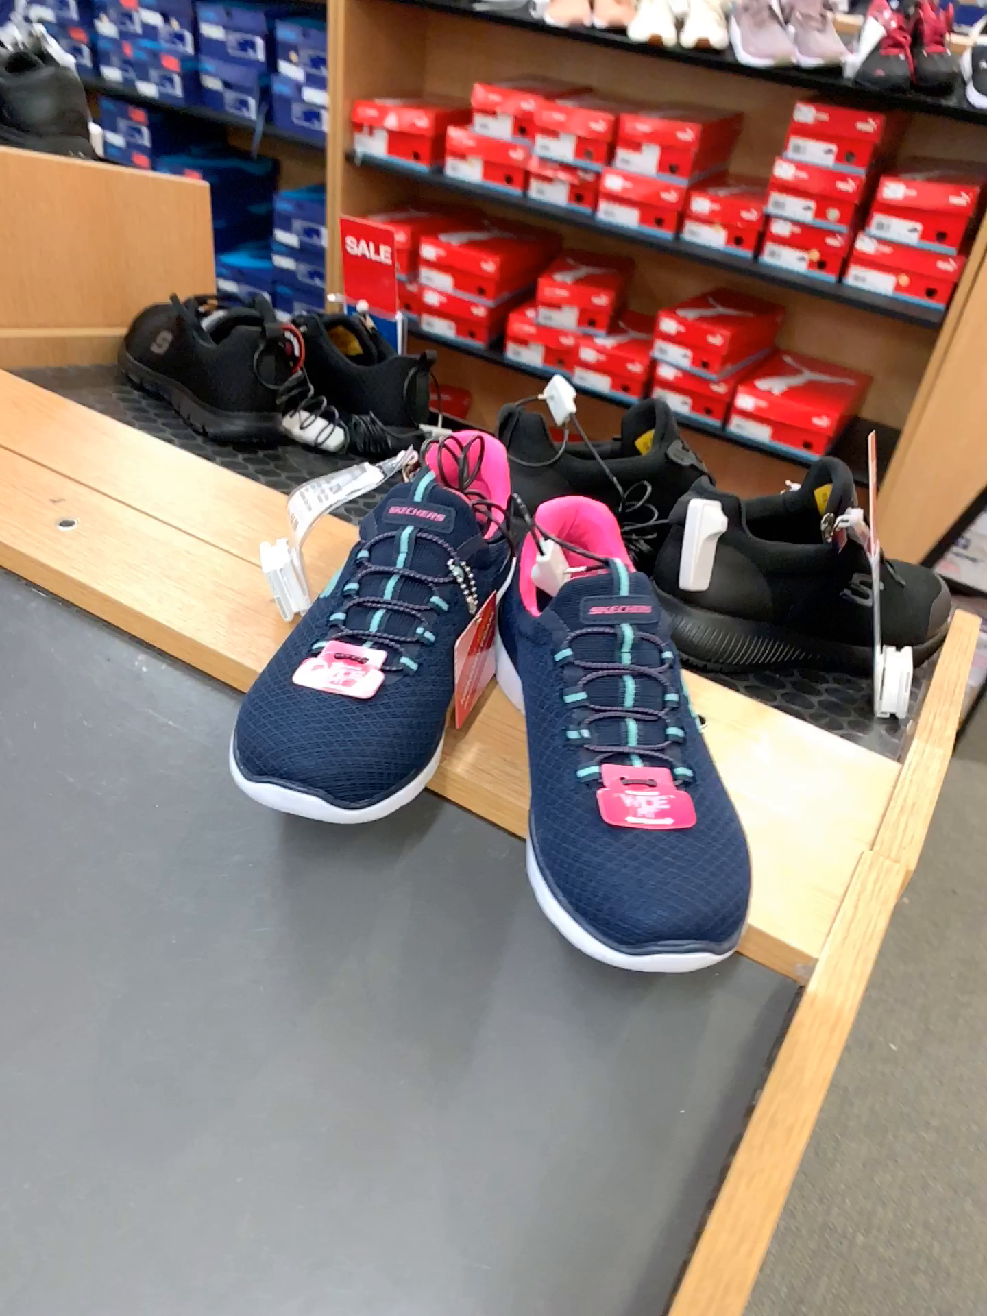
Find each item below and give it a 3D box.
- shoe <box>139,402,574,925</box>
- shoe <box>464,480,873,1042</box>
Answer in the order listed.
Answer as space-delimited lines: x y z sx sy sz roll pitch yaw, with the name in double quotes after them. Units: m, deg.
-0.048 -0.016 0.485 0.110 0.099 0.251 14 39 8 "shoe"
0.055 0.026 0.456 0.100 0.090 0.261 0 39 -10 "shoe"
